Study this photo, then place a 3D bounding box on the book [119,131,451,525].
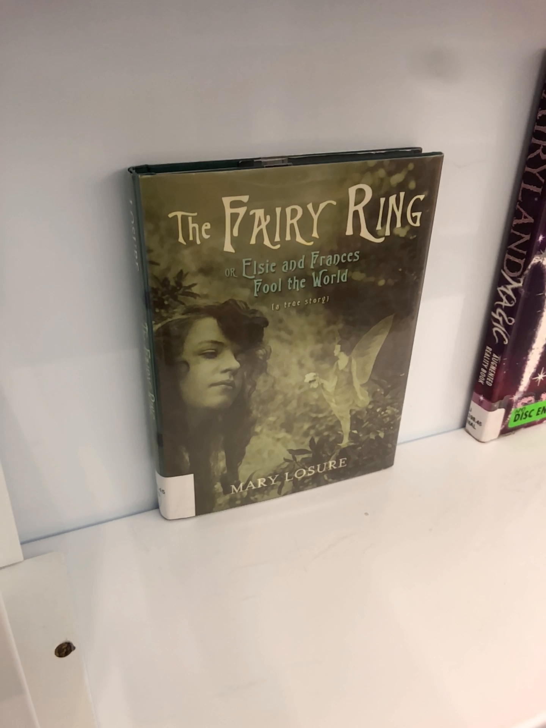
[{"bbox_3d":[0.008,-0.016,0.318,0.150,0.190,0.028,-11,30,-19],"label":"book"}]
